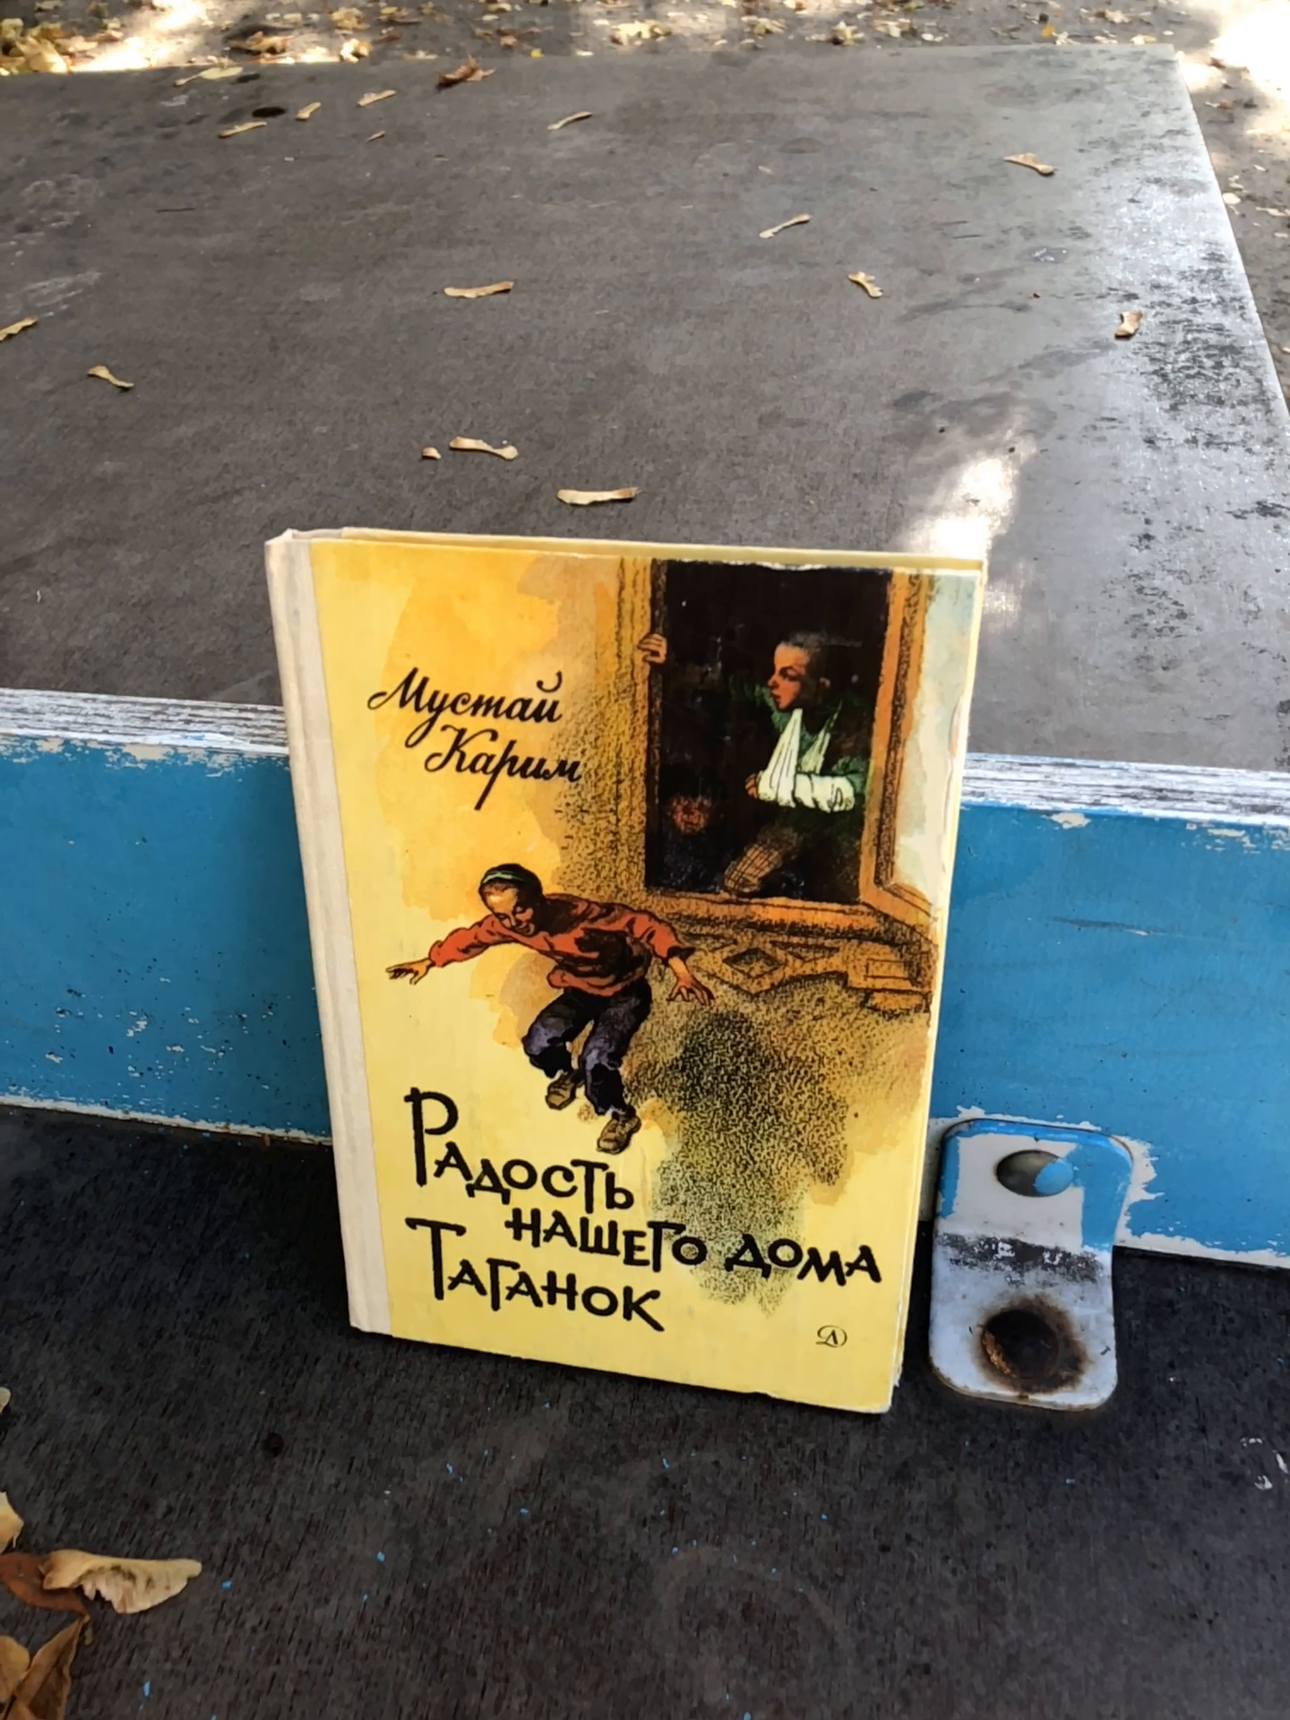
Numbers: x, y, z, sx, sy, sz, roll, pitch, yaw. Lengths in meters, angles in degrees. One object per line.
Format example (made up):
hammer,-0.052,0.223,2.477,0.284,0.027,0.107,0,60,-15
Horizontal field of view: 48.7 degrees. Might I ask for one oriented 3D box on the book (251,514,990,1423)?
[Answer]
book,-0.007,0.032,0.343,0.155,0.218,0.020,5,24,11
